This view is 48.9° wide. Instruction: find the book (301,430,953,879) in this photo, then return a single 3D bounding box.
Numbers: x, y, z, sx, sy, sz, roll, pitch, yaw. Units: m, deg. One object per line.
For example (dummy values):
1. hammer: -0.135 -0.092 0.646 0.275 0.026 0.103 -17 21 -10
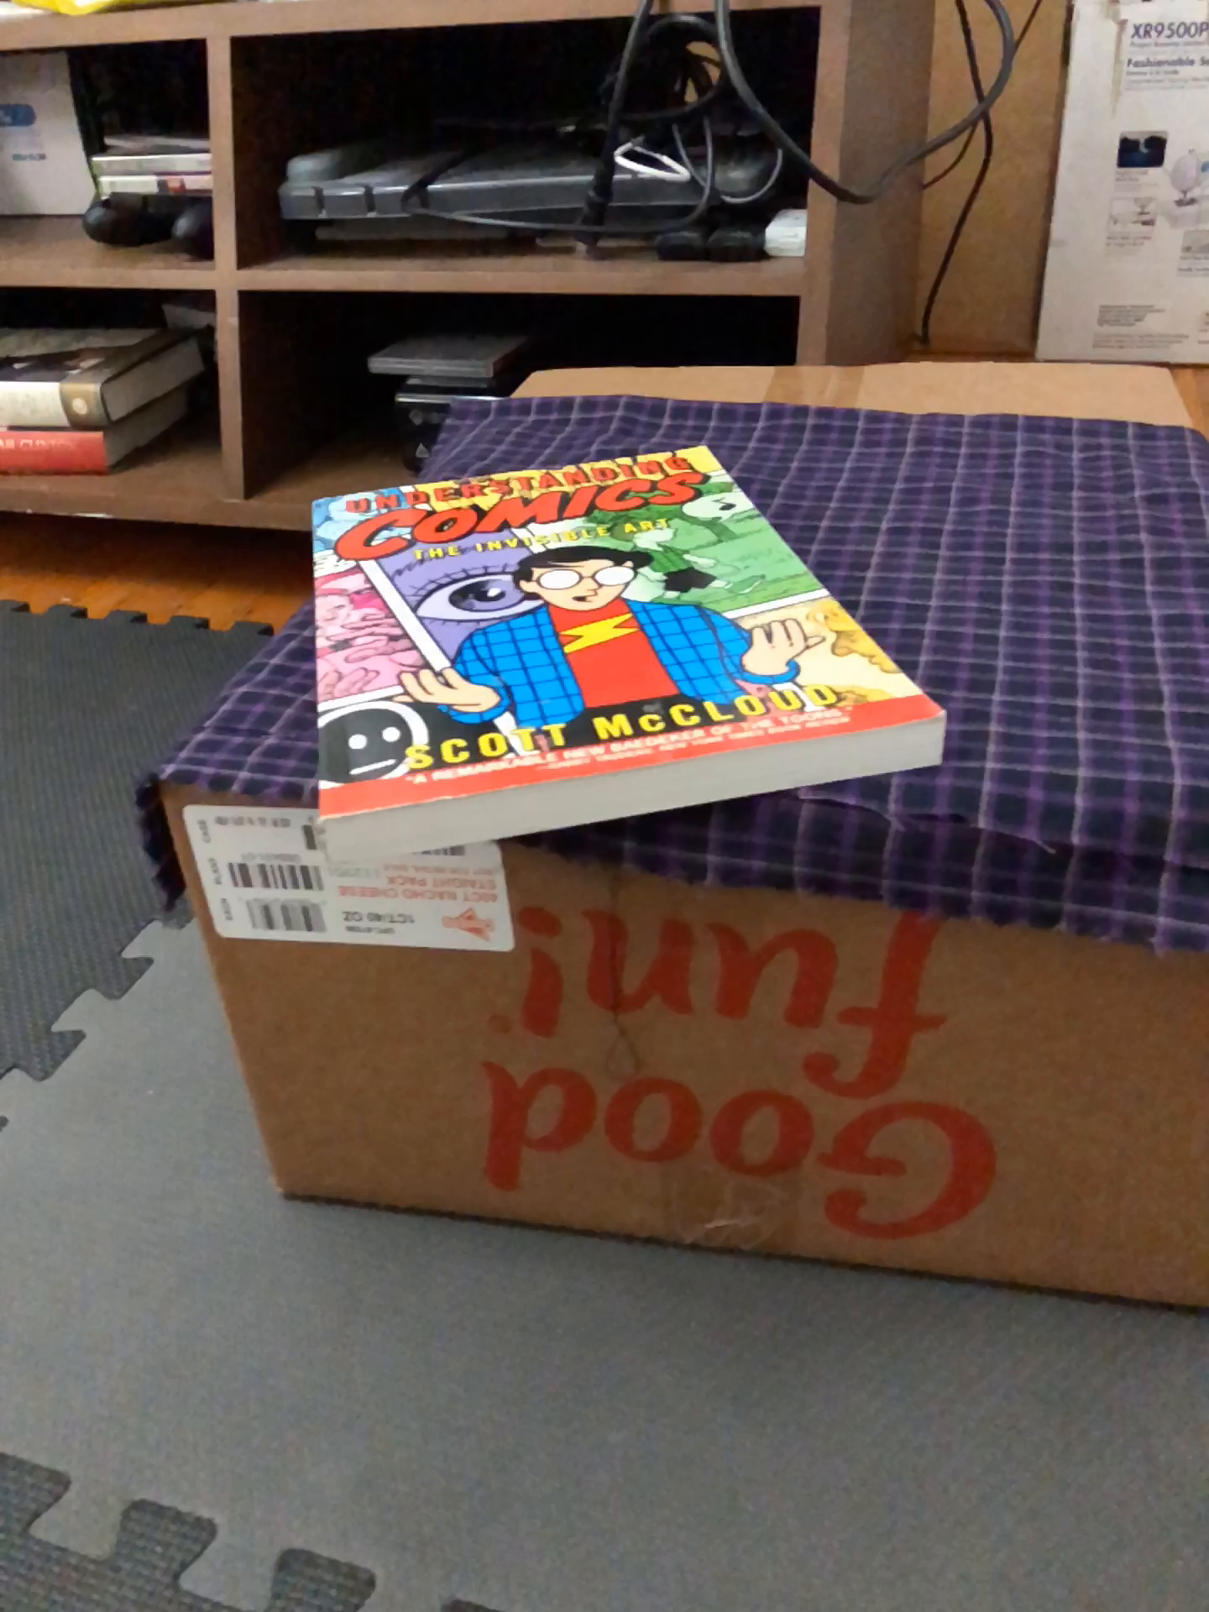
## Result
1. book: -0.017 -0.072 0.458 0.170 0.020 0.272 -9 32 -7
